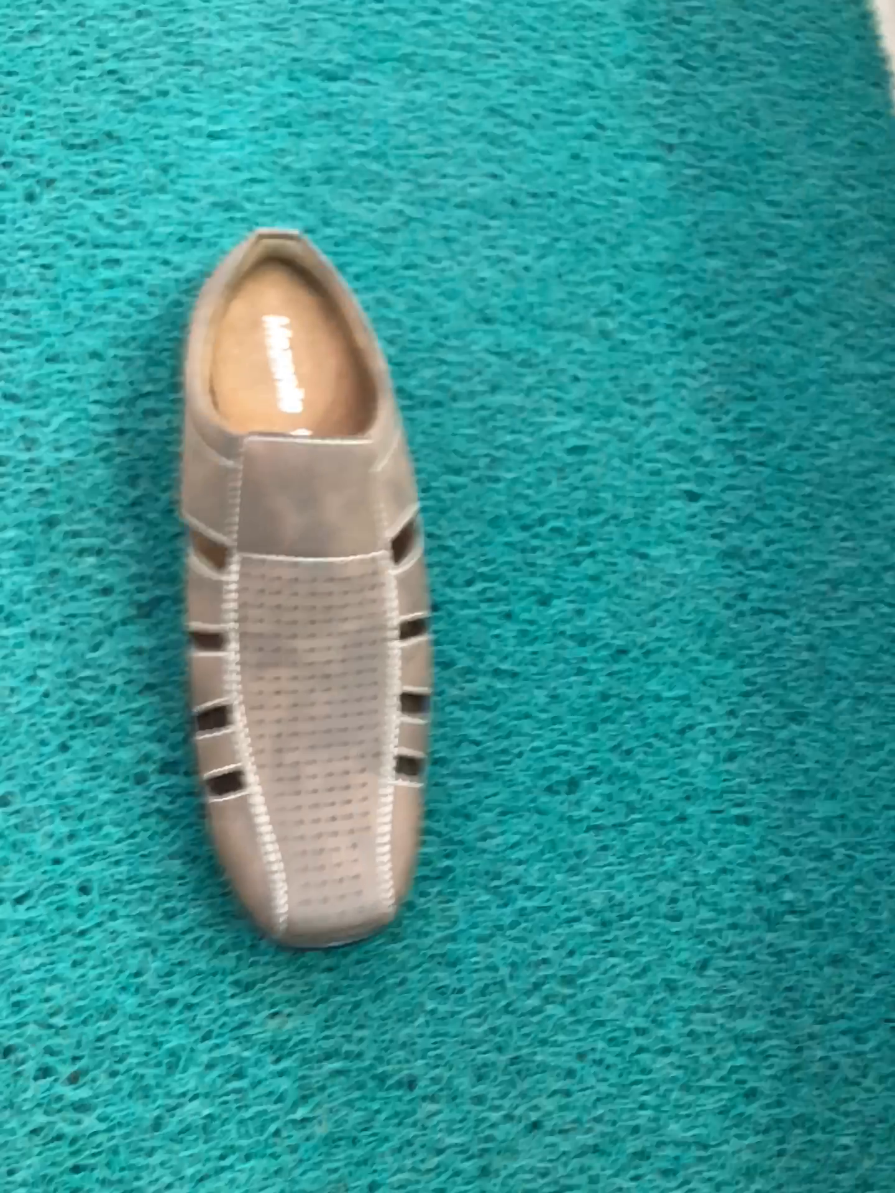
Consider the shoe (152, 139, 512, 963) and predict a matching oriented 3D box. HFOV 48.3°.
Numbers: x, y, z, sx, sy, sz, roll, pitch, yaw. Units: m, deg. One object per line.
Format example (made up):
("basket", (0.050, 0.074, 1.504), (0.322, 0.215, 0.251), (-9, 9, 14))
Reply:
("shoe", (-0.053, -0.024, 0.376), (0.090, 0.070, 0.290), (-4, 74, -17))
